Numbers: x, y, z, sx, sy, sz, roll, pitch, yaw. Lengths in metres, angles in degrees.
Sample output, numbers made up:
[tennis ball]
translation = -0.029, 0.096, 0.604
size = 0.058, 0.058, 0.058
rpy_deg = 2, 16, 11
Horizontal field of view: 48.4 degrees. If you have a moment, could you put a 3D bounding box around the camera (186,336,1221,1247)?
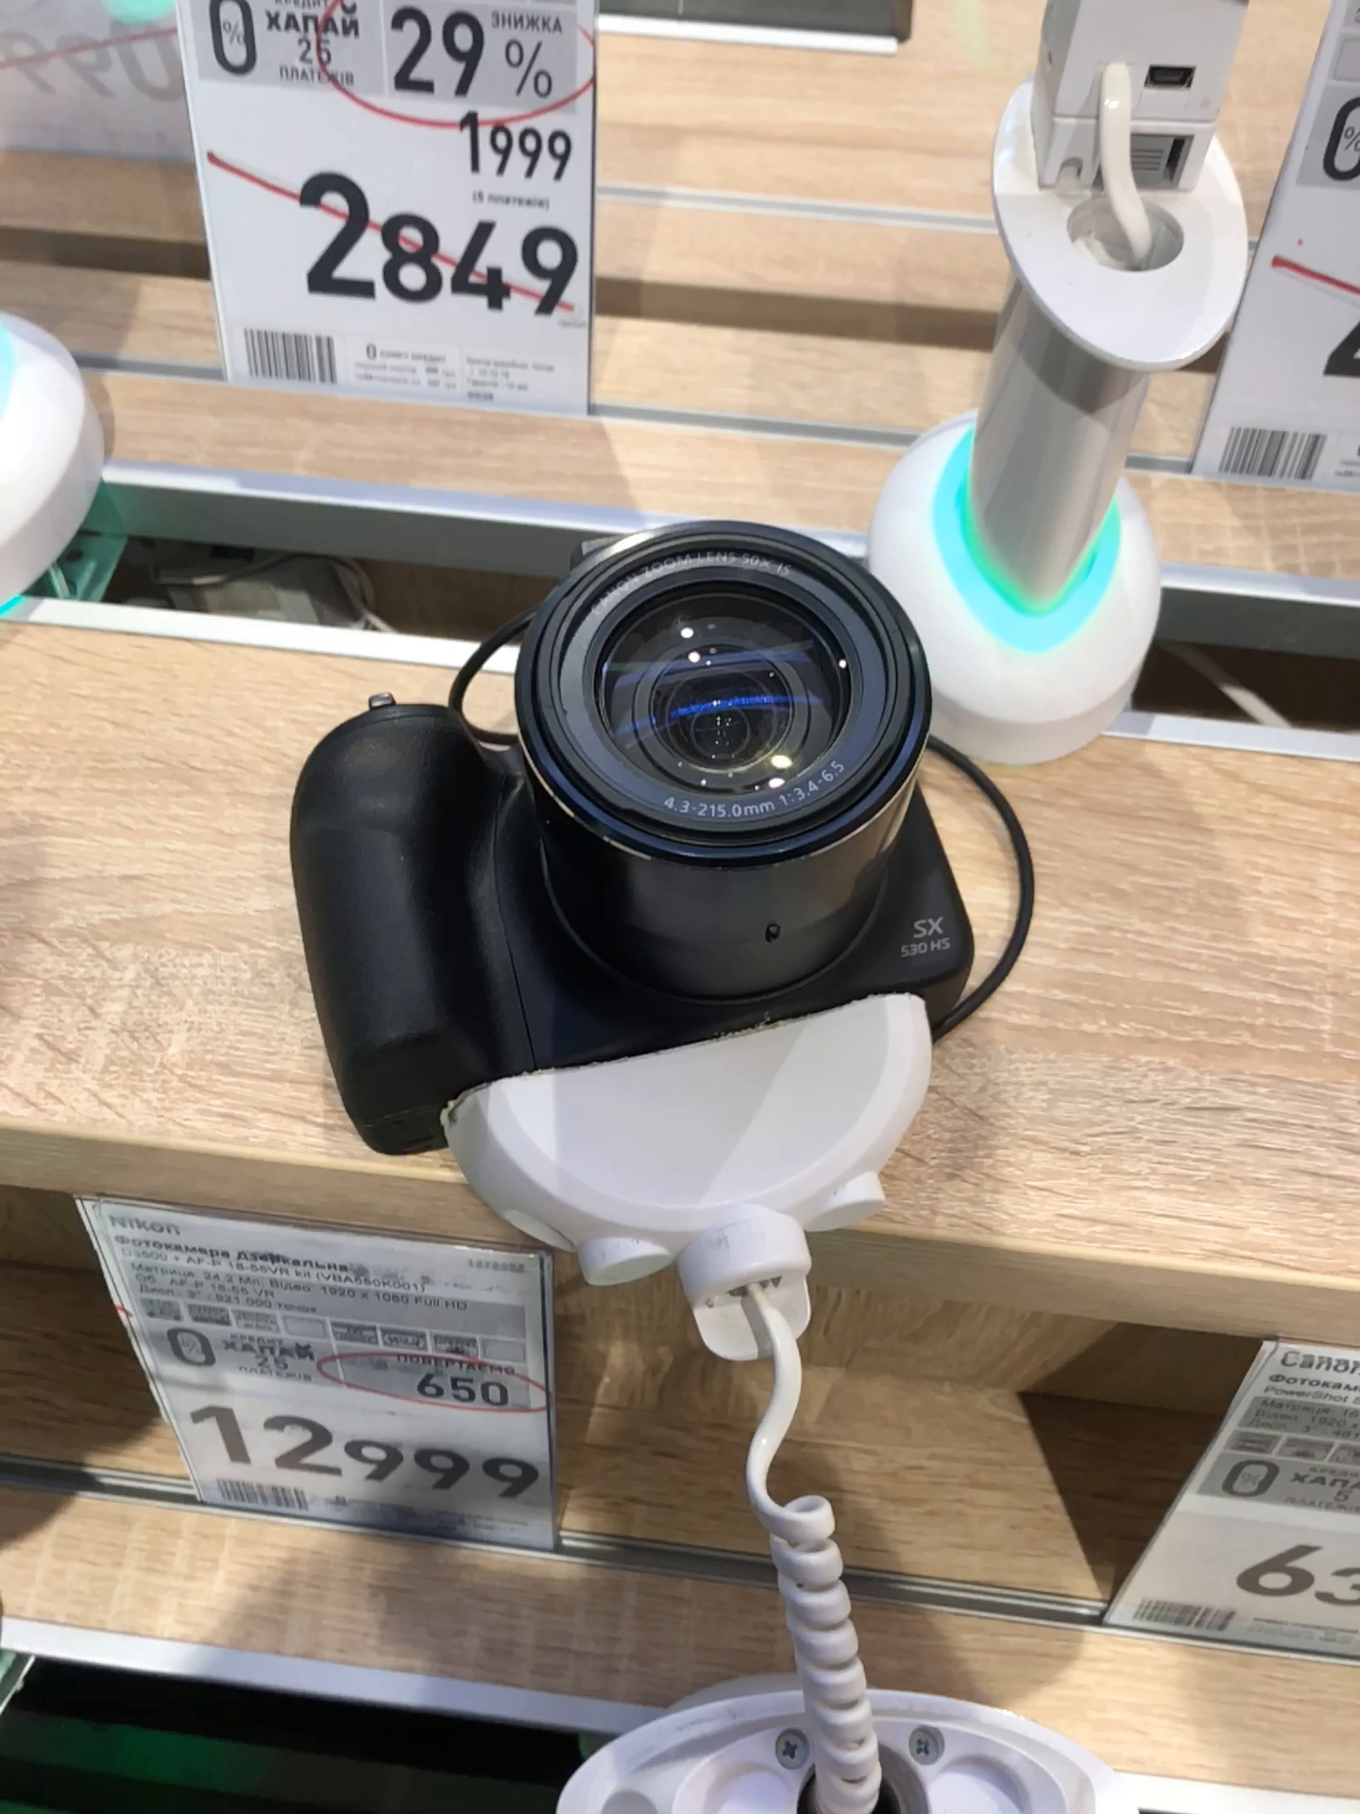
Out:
[camera]
translation = -0.002, -0.018, 0.269
size = 0.133, 0.091, 0.107
rpy_deg = -12, 66, -8
